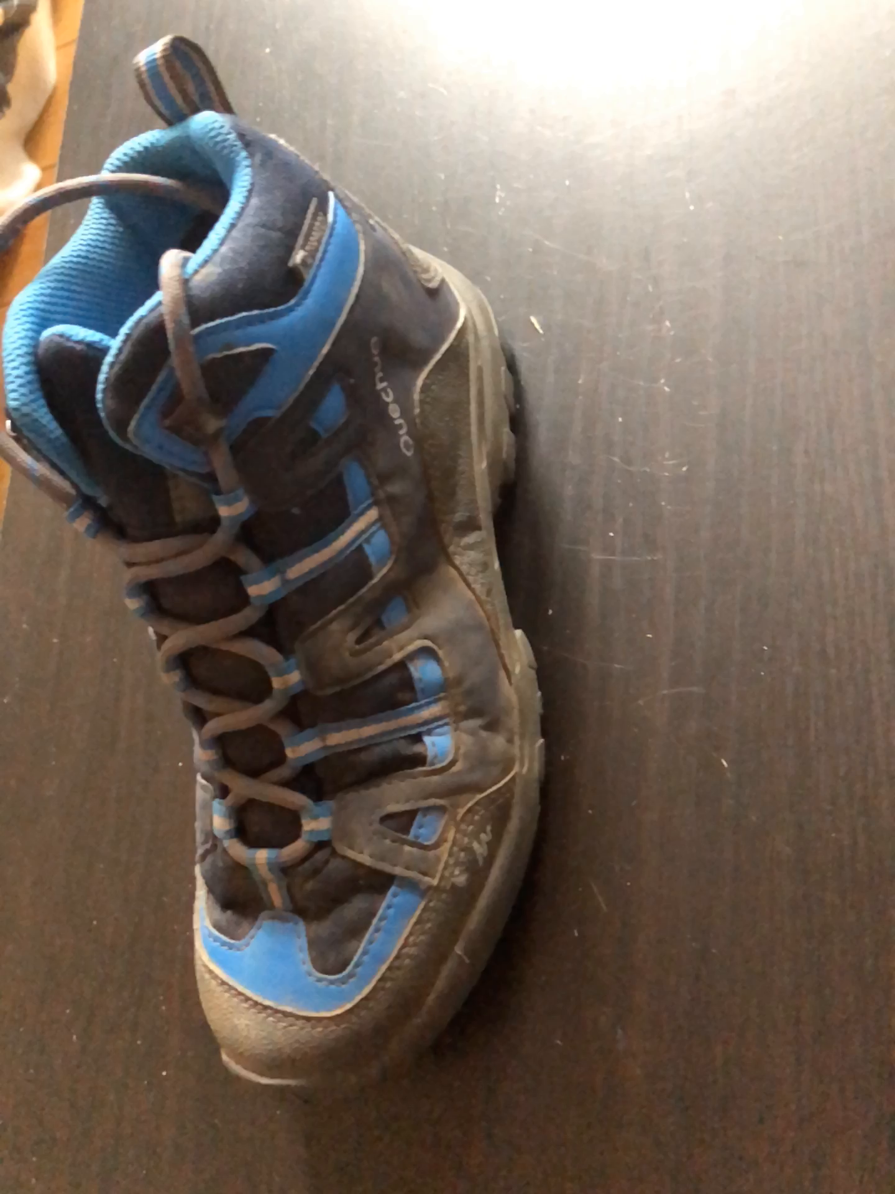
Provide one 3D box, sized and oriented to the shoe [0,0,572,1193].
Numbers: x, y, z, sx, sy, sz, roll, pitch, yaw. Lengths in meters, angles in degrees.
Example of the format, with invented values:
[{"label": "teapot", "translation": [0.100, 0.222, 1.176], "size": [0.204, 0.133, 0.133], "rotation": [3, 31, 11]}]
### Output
[{"label": "shoe", "translation": [-0.043, 0.004, 0.253], "size": [0.100, 0.120, 0.250], "rotation": [-3, 76, 30]}]
